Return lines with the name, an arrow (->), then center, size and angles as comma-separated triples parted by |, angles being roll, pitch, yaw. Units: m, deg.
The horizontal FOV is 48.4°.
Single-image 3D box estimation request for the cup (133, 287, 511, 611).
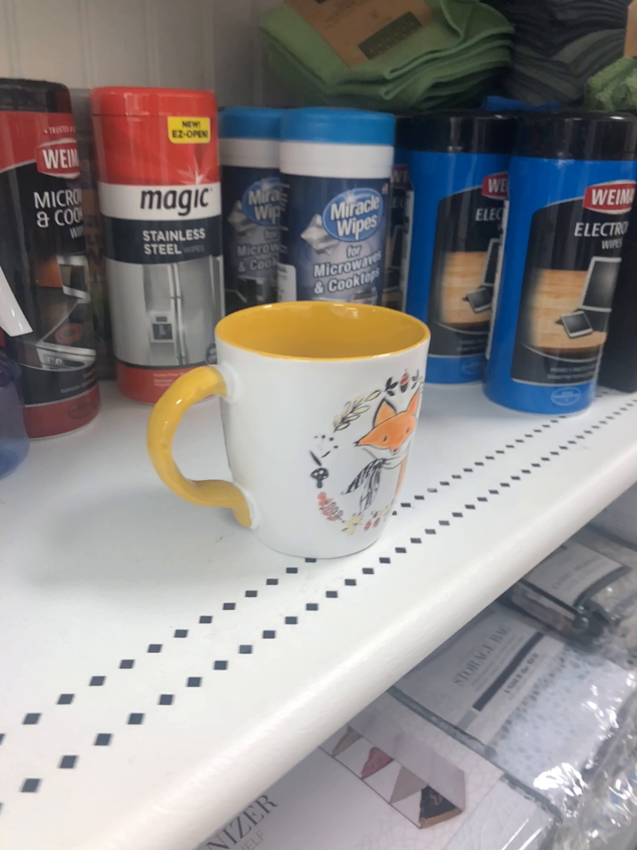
cup -> 0.000, -0.002, 0.328 | 0.133, 0.093, 0.099 | -14, 27, -34
